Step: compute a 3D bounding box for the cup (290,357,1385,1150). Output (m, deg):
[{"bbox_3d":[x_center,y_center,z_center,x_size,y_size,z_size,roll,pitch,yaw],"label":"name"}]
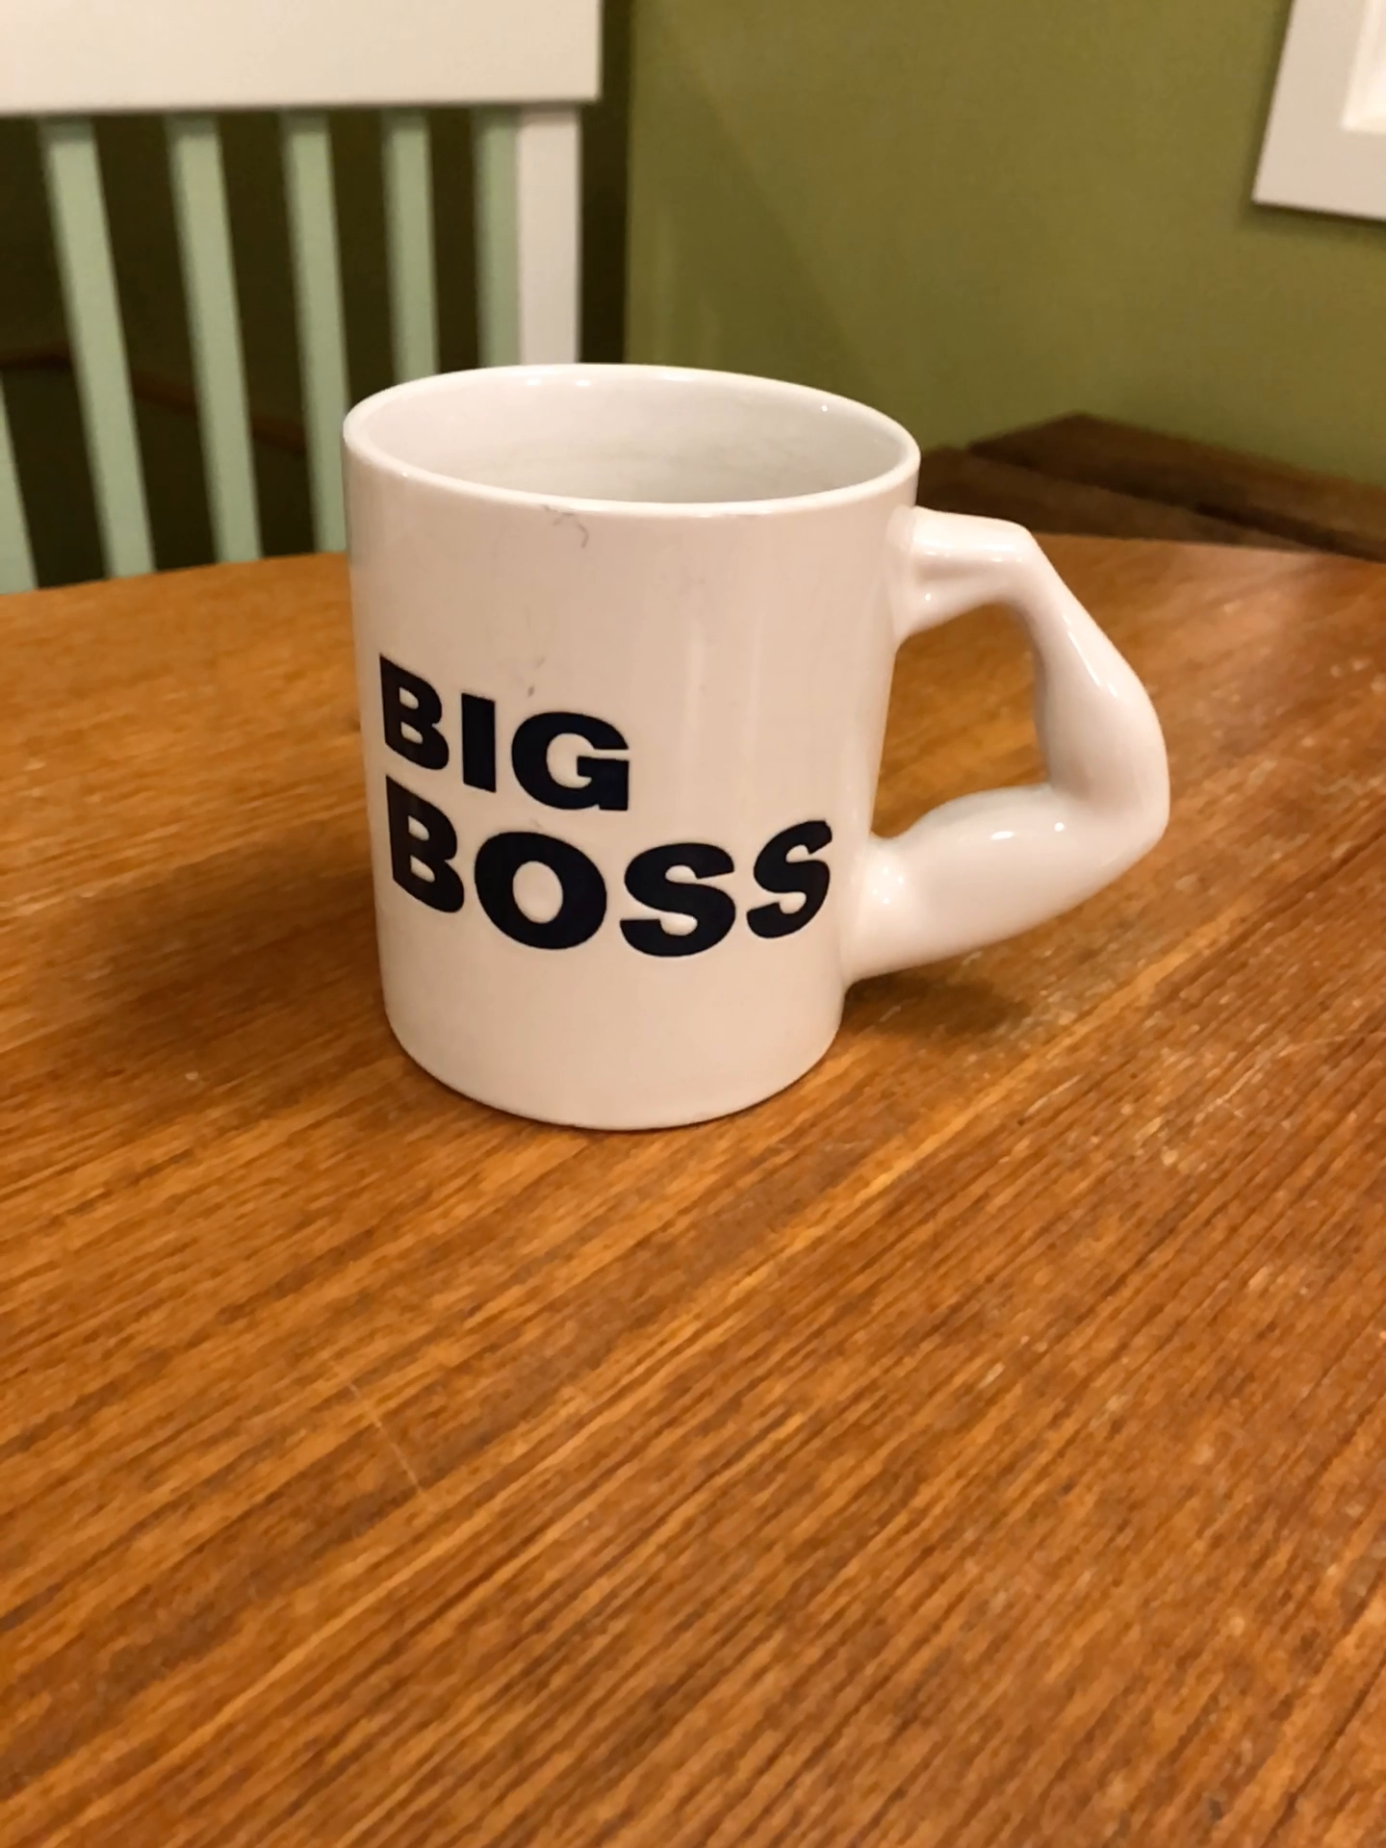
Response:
[{"bbox_3d":[0.015,-0.030,0.255,0.138,0.099,0.088,1,31,-4],"label":"cup"}]
